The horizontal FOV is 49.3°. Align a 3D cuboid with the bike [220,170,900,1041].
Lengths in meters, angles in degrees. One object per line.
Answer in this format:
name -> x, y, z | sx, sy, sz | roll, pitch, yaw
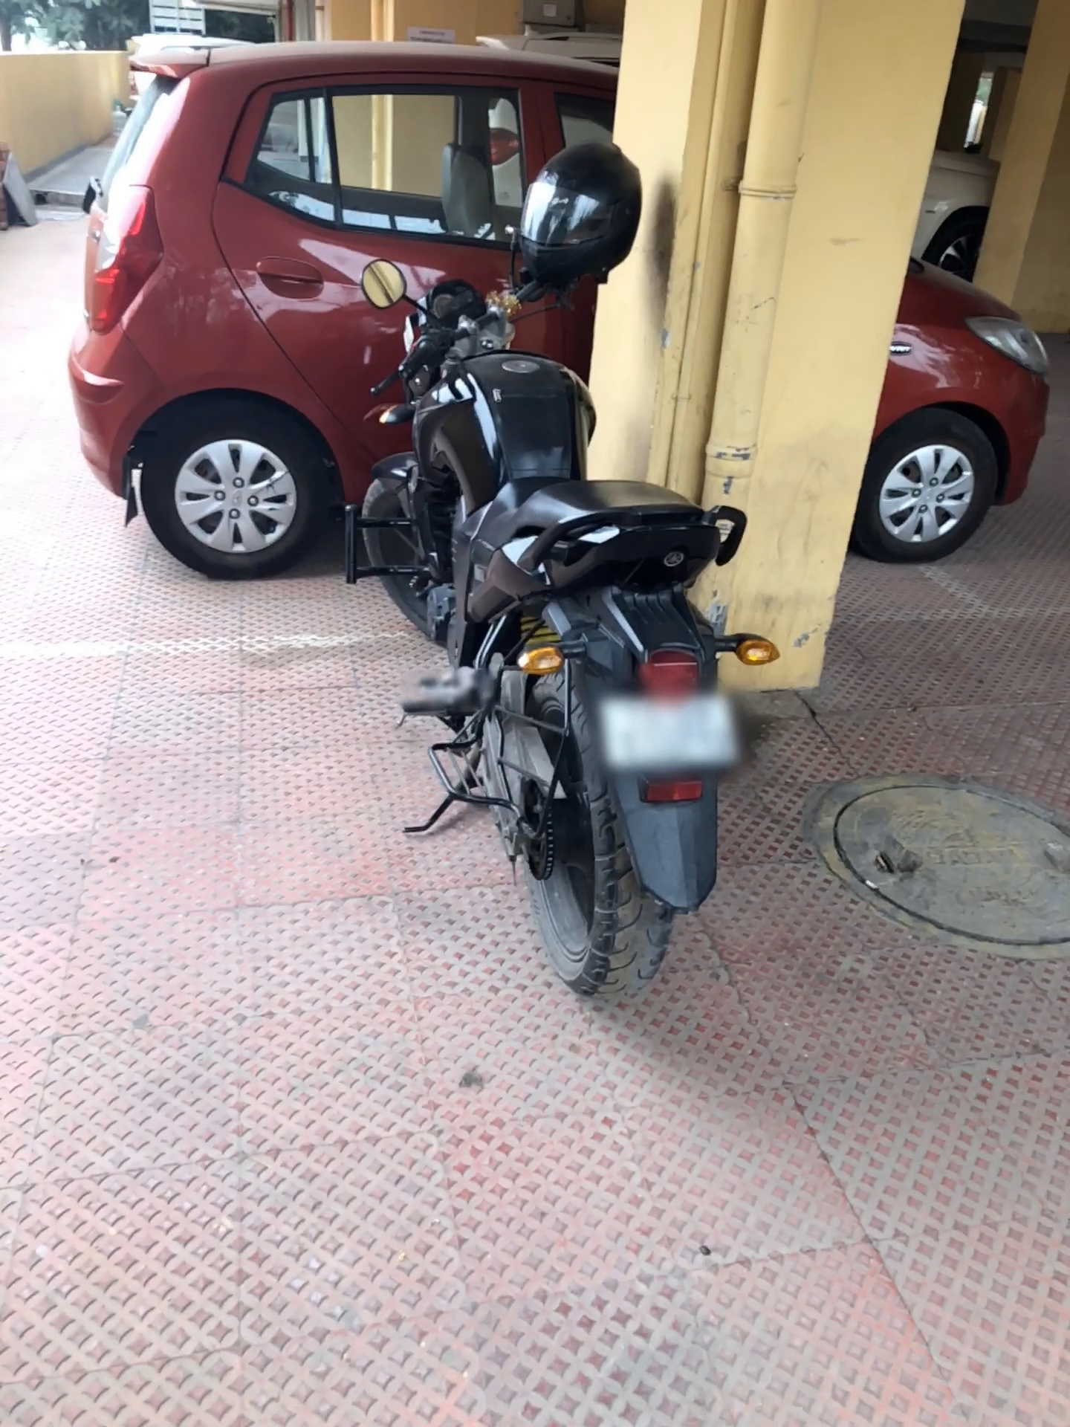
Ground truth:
bike -> -0.174, -0.411, 2.433 | 0.610, 1.052, 1.808 | -7, 32, -21
